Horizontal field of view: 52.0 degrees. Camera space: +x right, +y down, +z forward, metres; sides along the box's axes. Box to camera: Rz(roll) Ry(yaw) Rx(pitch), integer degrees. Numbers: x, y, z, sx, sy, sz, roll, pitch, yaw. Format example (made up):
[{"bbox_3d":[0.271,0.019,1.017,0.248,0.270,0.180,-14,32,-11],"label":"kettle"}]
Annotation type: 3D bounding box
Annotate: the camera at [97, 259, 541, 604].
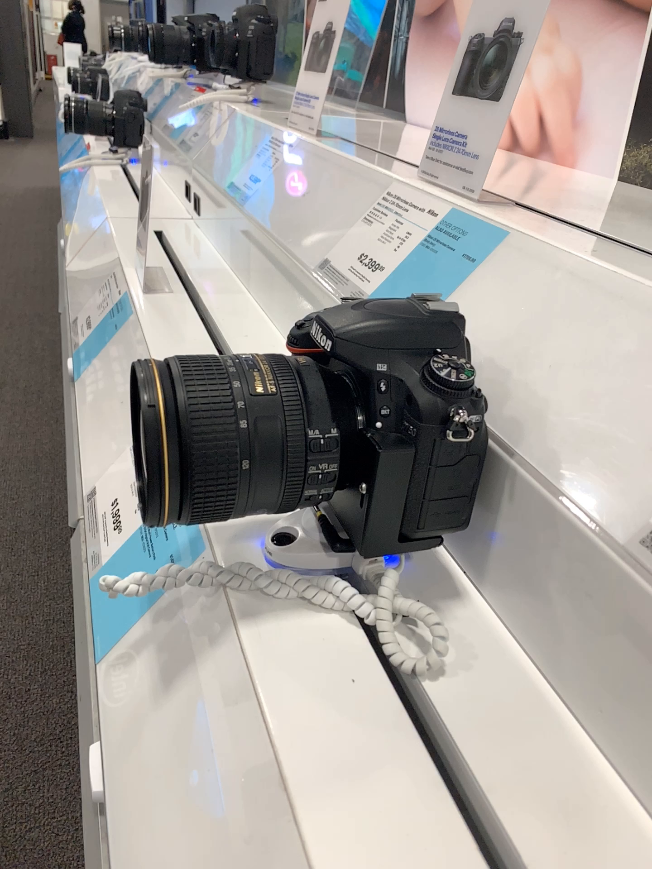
[{"bbox_3d":[-0.015,-0.018,0.357,0.180,0.111,0.141,-7,31,-23],"label":"camera"}]
